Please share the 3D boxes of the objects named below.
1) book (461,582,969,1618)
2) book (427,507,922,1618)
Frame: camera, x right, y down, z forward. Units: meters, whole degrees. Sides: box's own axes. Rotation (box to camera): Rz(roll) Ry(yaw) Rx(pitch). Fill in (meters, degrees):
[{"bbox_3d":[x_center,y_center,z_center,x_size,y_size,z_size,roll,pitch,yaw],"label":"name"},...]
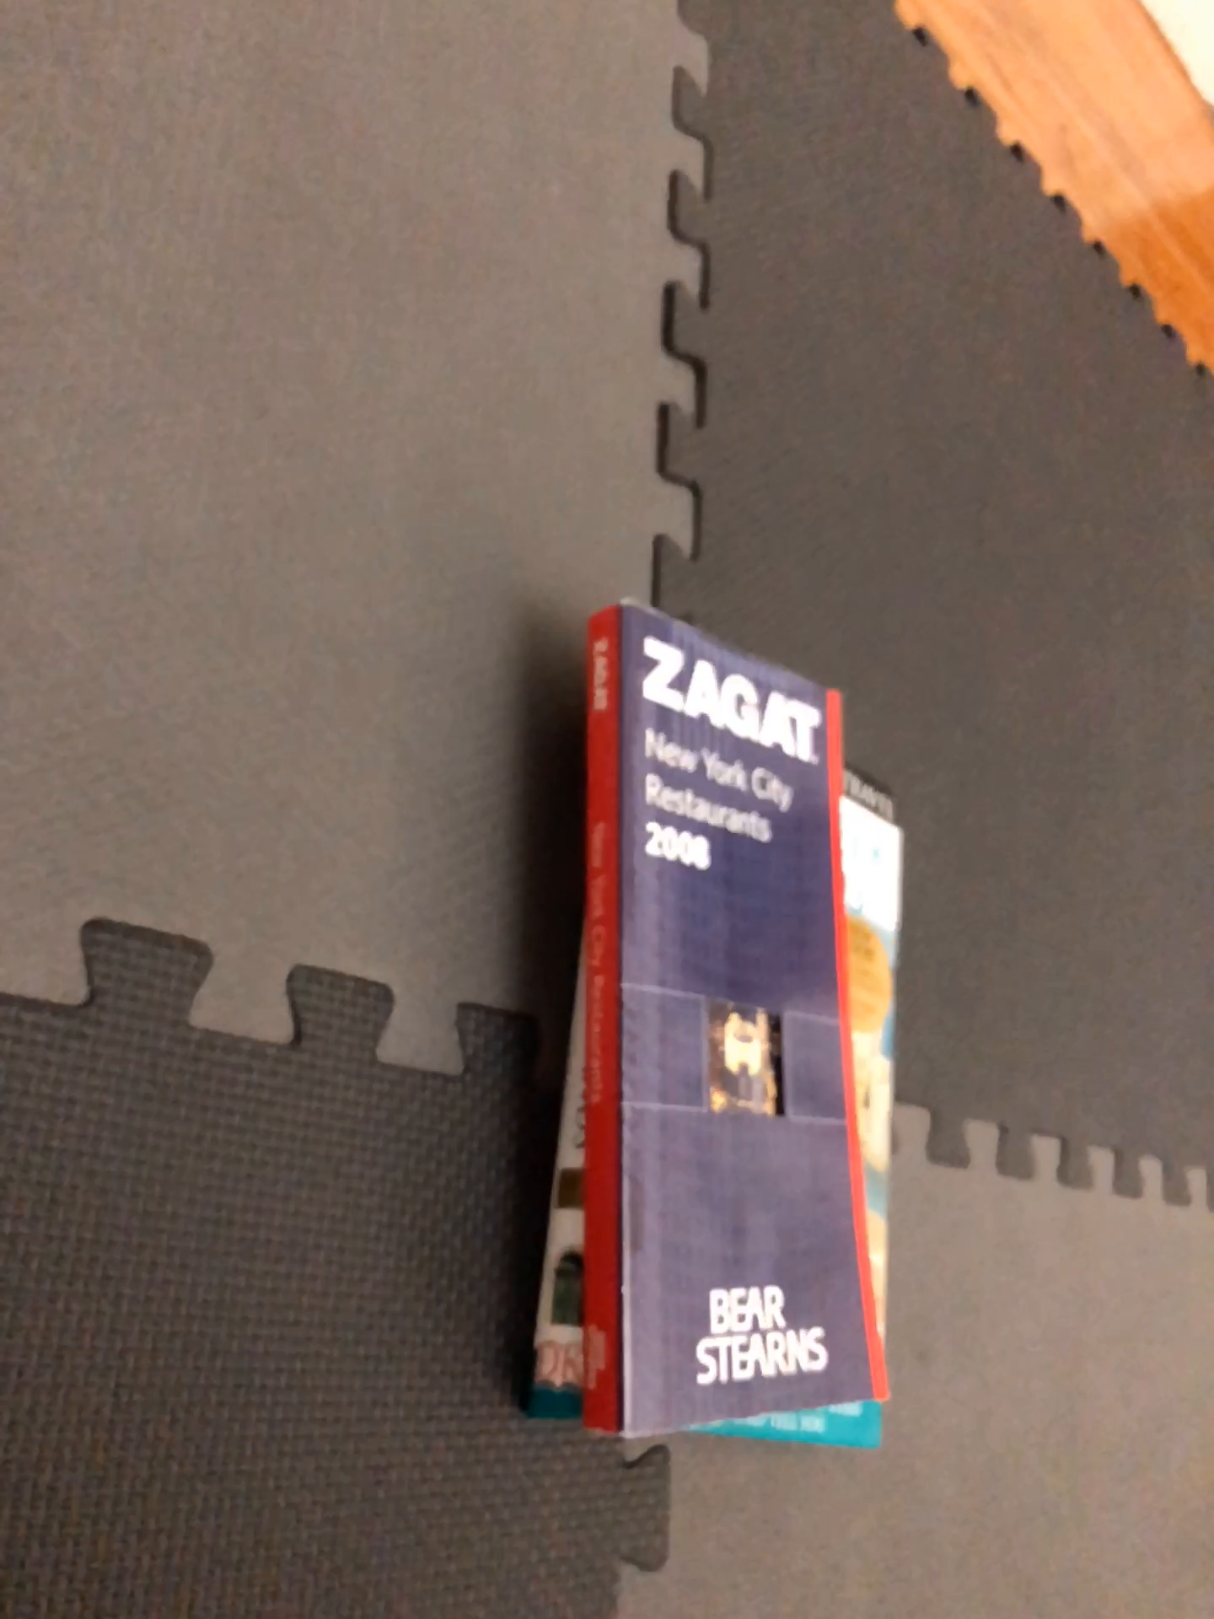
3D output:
[{"bbox_3d":[0.044,0.086,0.397,0.171,0.030,0.260,22,63,-42],"label":"book"},{"bbox_3d":[0.021,0.062,0.352,0.151,0.020,0.250,11,71,-45],"label":"book"}]
